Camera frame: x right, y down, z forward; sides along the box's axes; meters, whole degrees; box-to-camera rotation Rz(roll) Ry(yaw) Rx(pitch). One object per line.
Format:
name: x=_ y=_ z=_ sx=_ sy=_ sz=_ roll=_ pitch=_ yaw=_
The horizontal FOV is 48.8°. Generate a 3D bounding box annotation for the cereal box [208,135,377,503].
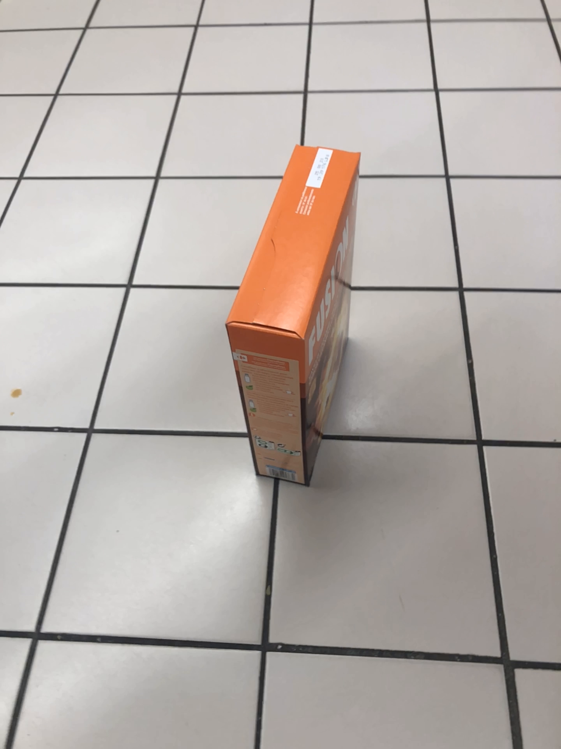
cereal box: x=0.020 y=-0.035 z=0.541 sx=0.070 sy=0.249 sz=0.201 roll=12 pitch=58 yaw=10
